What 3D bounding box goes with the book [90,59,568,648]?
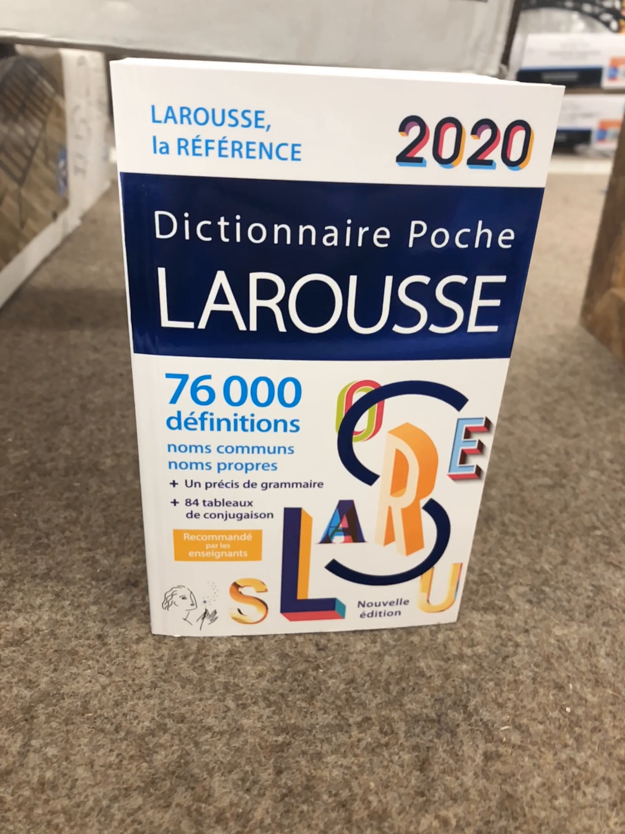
[{"bbox_3d":[-0.001,-0.016,0.226,0.111,0.173,0.062,-1,27,-7],"label":"book"}]
